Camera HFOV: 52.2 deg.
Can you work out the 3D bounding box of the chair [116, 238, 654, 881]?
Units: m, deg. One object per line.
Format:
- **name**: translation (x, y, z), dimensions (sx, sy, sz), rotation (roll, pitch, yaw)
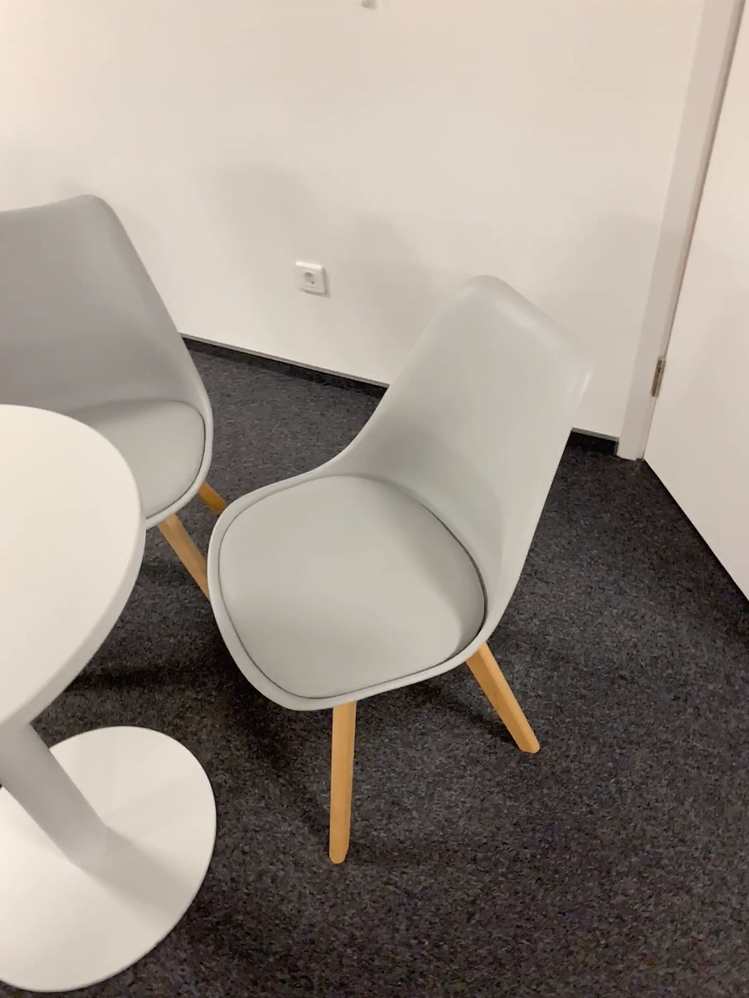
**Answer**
- **chair**: translation (0.014, 0.120, 1.213), dimensions (0.522, 0.810, 0.445), rotation (-20, 45, -15)
